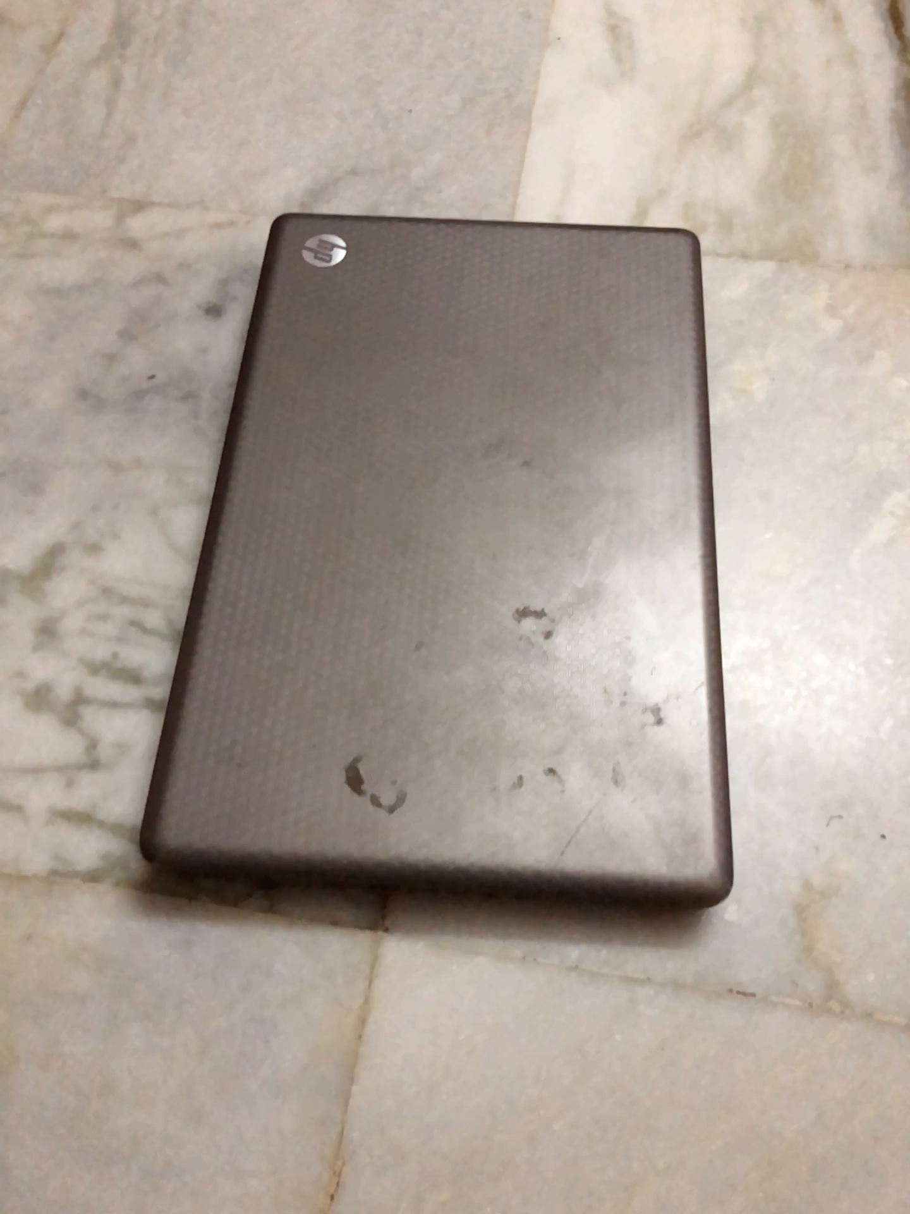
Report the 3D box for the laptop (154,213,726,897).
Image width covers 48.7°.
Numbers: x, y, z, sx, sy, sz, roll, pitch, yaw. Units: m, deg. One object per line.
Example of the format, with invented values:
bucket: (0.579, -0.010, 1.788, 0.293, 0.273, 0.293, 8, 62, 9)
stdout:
laptop: (0.006, -0.059, 0.529, 0.252, 0.003, 0.395, 3, 64, 2)
